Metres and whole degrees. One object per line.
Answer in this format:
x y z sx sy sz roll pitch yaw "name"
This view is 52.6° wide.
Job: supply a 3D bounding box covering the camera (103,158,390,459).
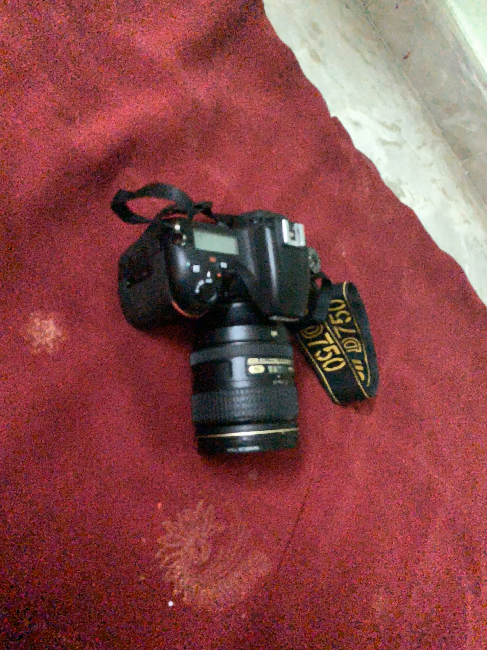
-0.001 0.001 0.346 0.151 0.110 0.160 4 74 -39 "camera"
